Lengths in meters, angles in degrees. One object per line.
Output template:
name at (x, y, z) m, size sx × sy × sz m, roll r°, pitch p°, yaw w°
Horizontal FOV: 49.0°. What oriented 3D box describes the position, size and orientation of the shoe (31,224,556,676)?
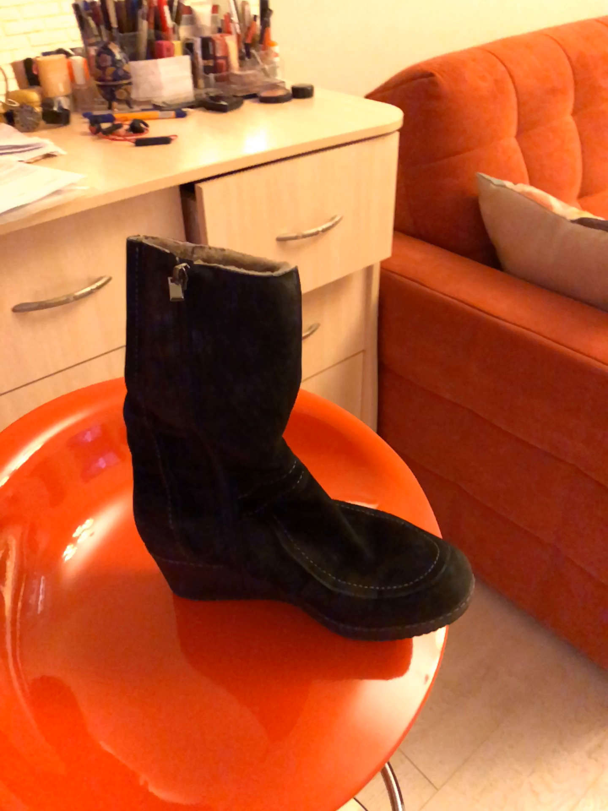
shoe at (0.000, 0.030, 0.431) m, size 0.260 × 0.248 × 0.101 m, roll 7°, pitch 37°, yaw 13°
